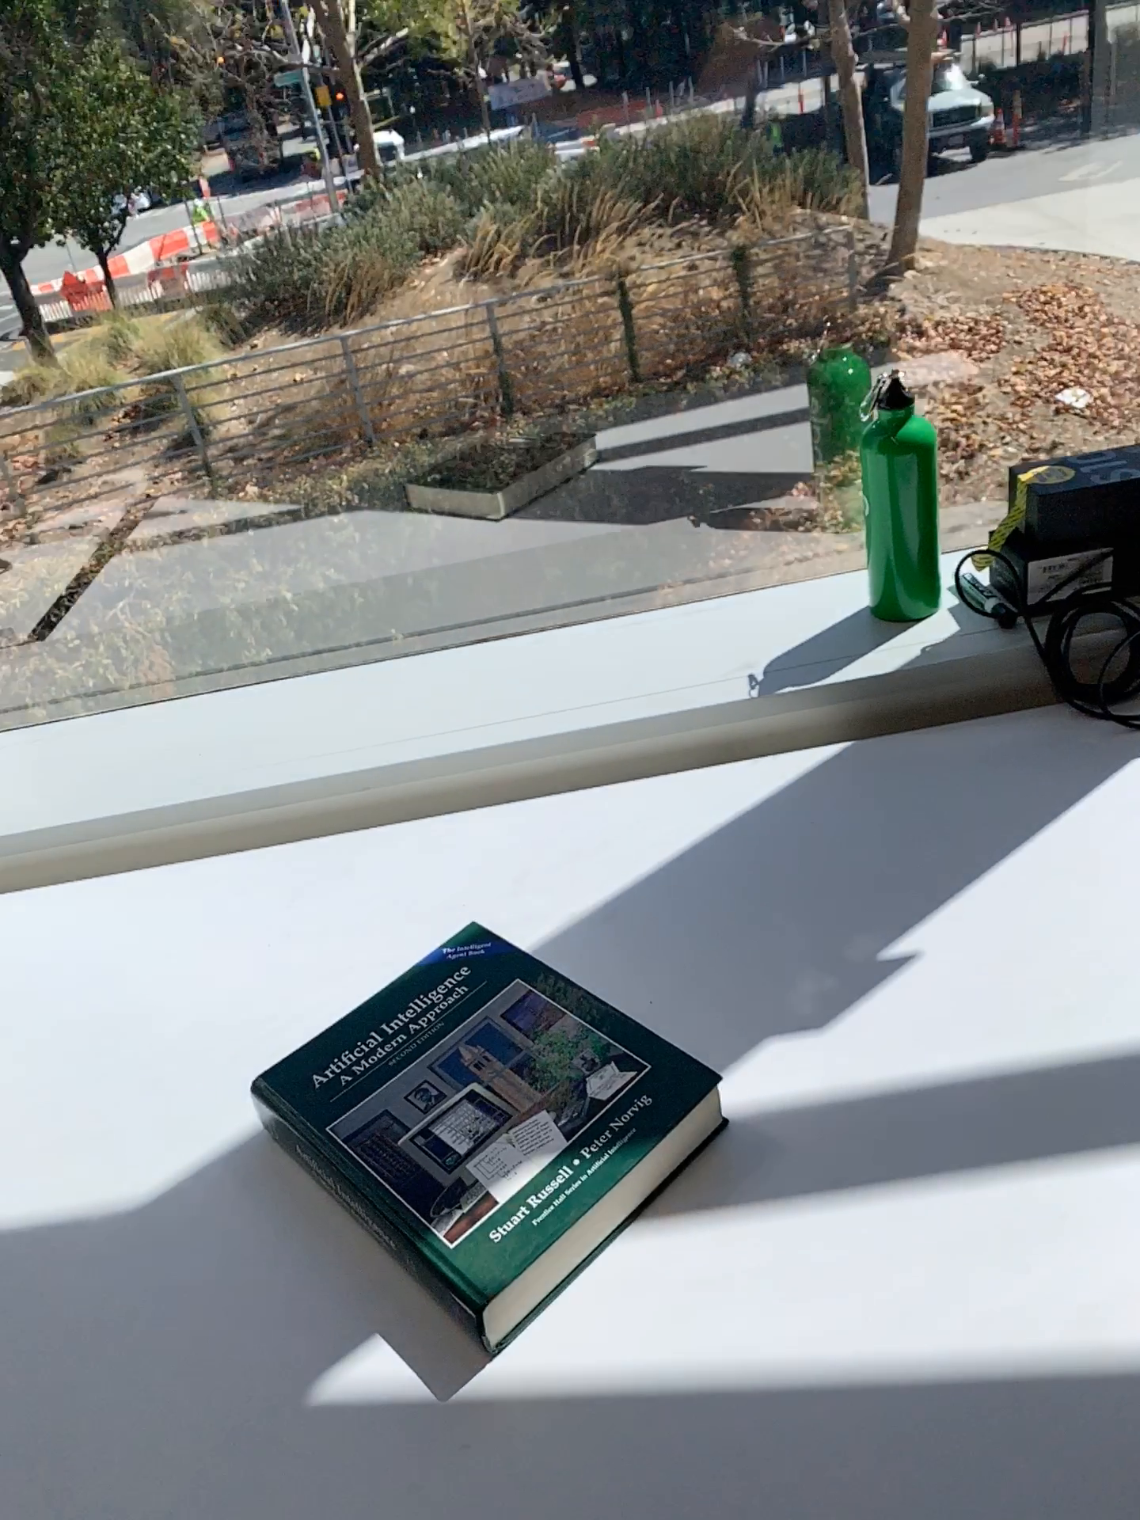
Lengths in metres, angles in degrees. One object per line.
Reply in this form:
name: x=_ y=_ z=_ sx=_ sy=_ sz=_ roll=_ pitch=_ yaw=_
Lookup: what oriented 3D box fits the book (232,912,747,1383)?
book: x=-0.058 y=0.233 z=0.786 sx=0.230 sy=0.050 sz=0.261 roll=-34 pitch=38 yaw=-30
